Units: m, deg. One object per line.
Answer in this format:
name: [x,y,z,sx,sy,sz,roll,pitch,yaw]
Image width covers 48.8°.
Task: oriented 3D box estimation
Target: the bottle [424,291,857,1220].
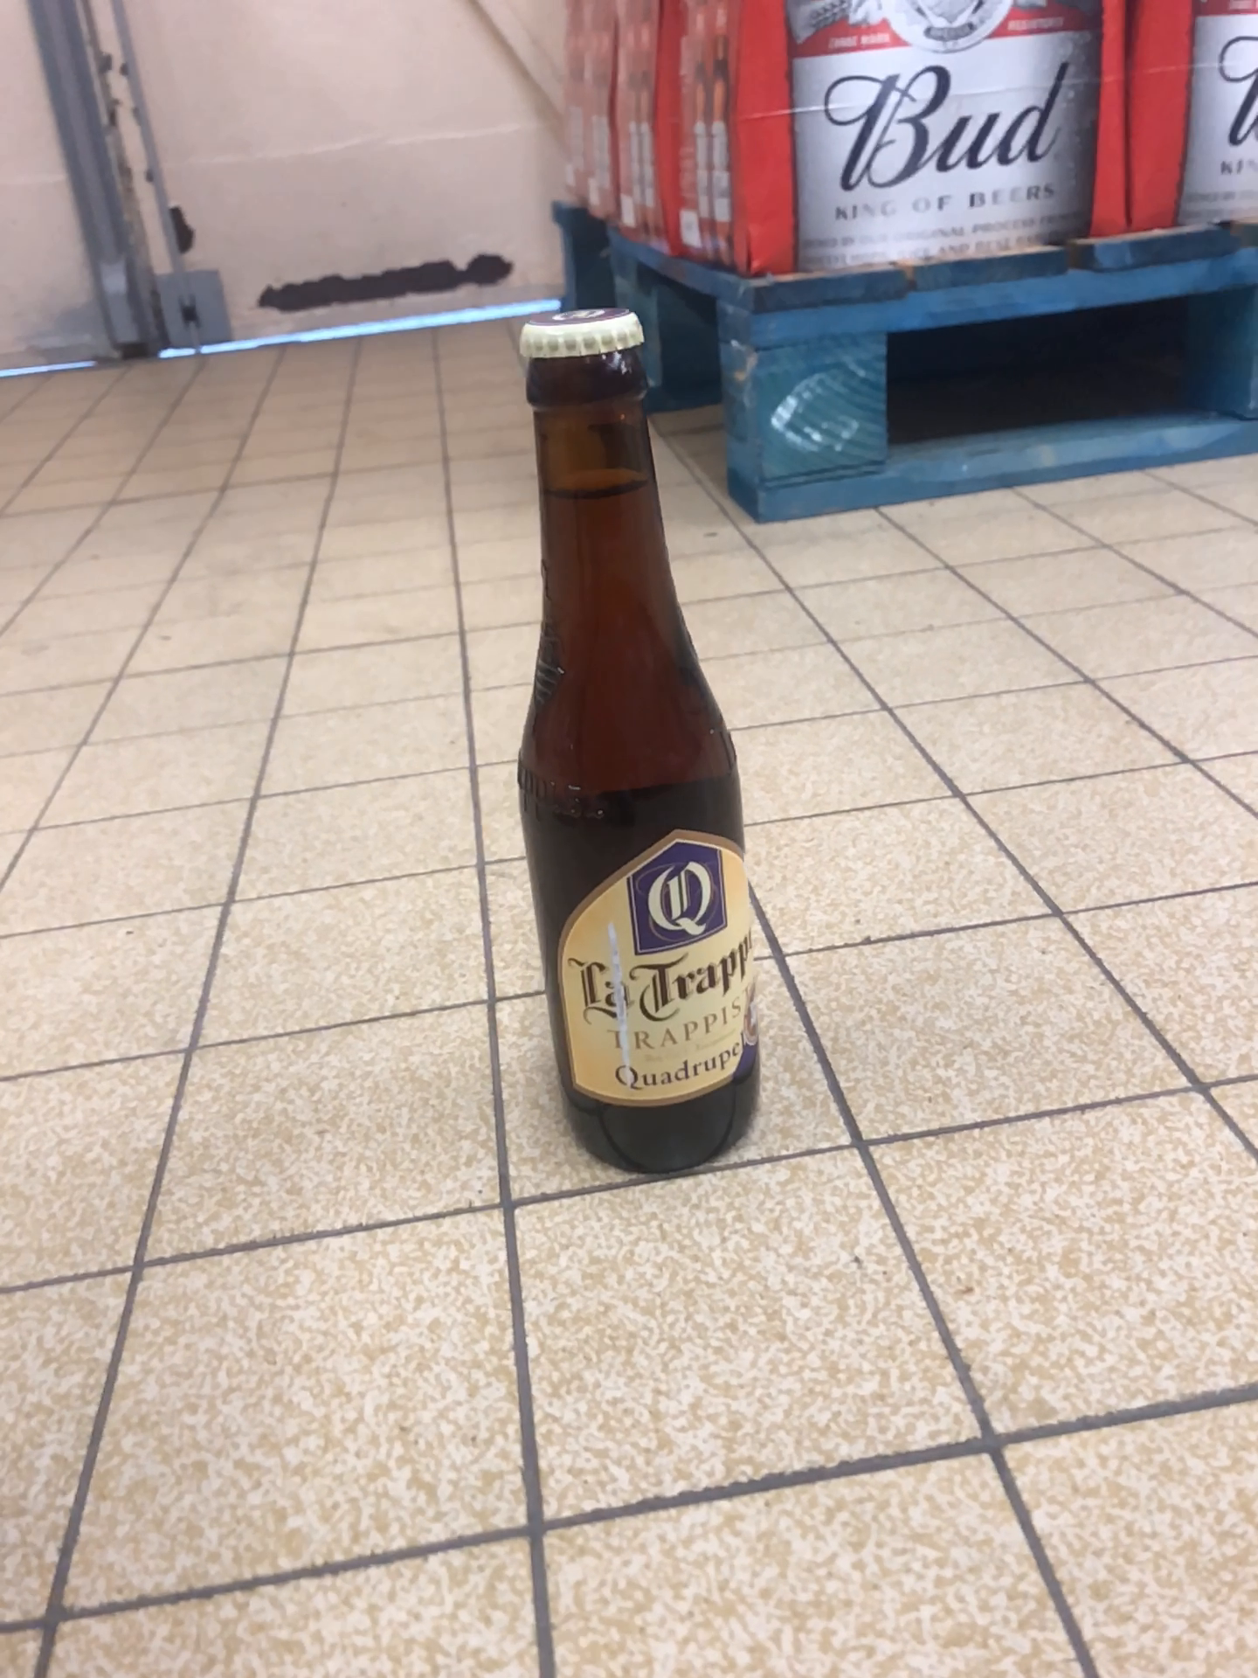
bottle: [0.008,-0.019,0.360,0.070,0.219,0.070,-5,26,3]
